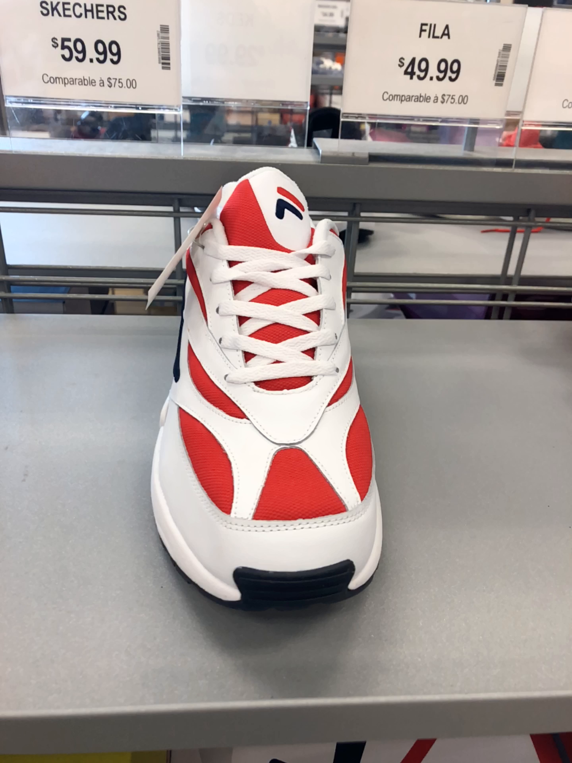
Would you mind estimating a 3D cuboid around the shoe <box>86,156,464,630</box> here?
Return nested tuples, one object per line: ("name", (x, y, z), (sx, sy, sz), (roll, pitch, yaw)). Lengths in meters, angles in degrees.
("shoe", (-0.015, -0.024, 0.349), (0.120, 0.129, 0.272), (0, 32, -5))
